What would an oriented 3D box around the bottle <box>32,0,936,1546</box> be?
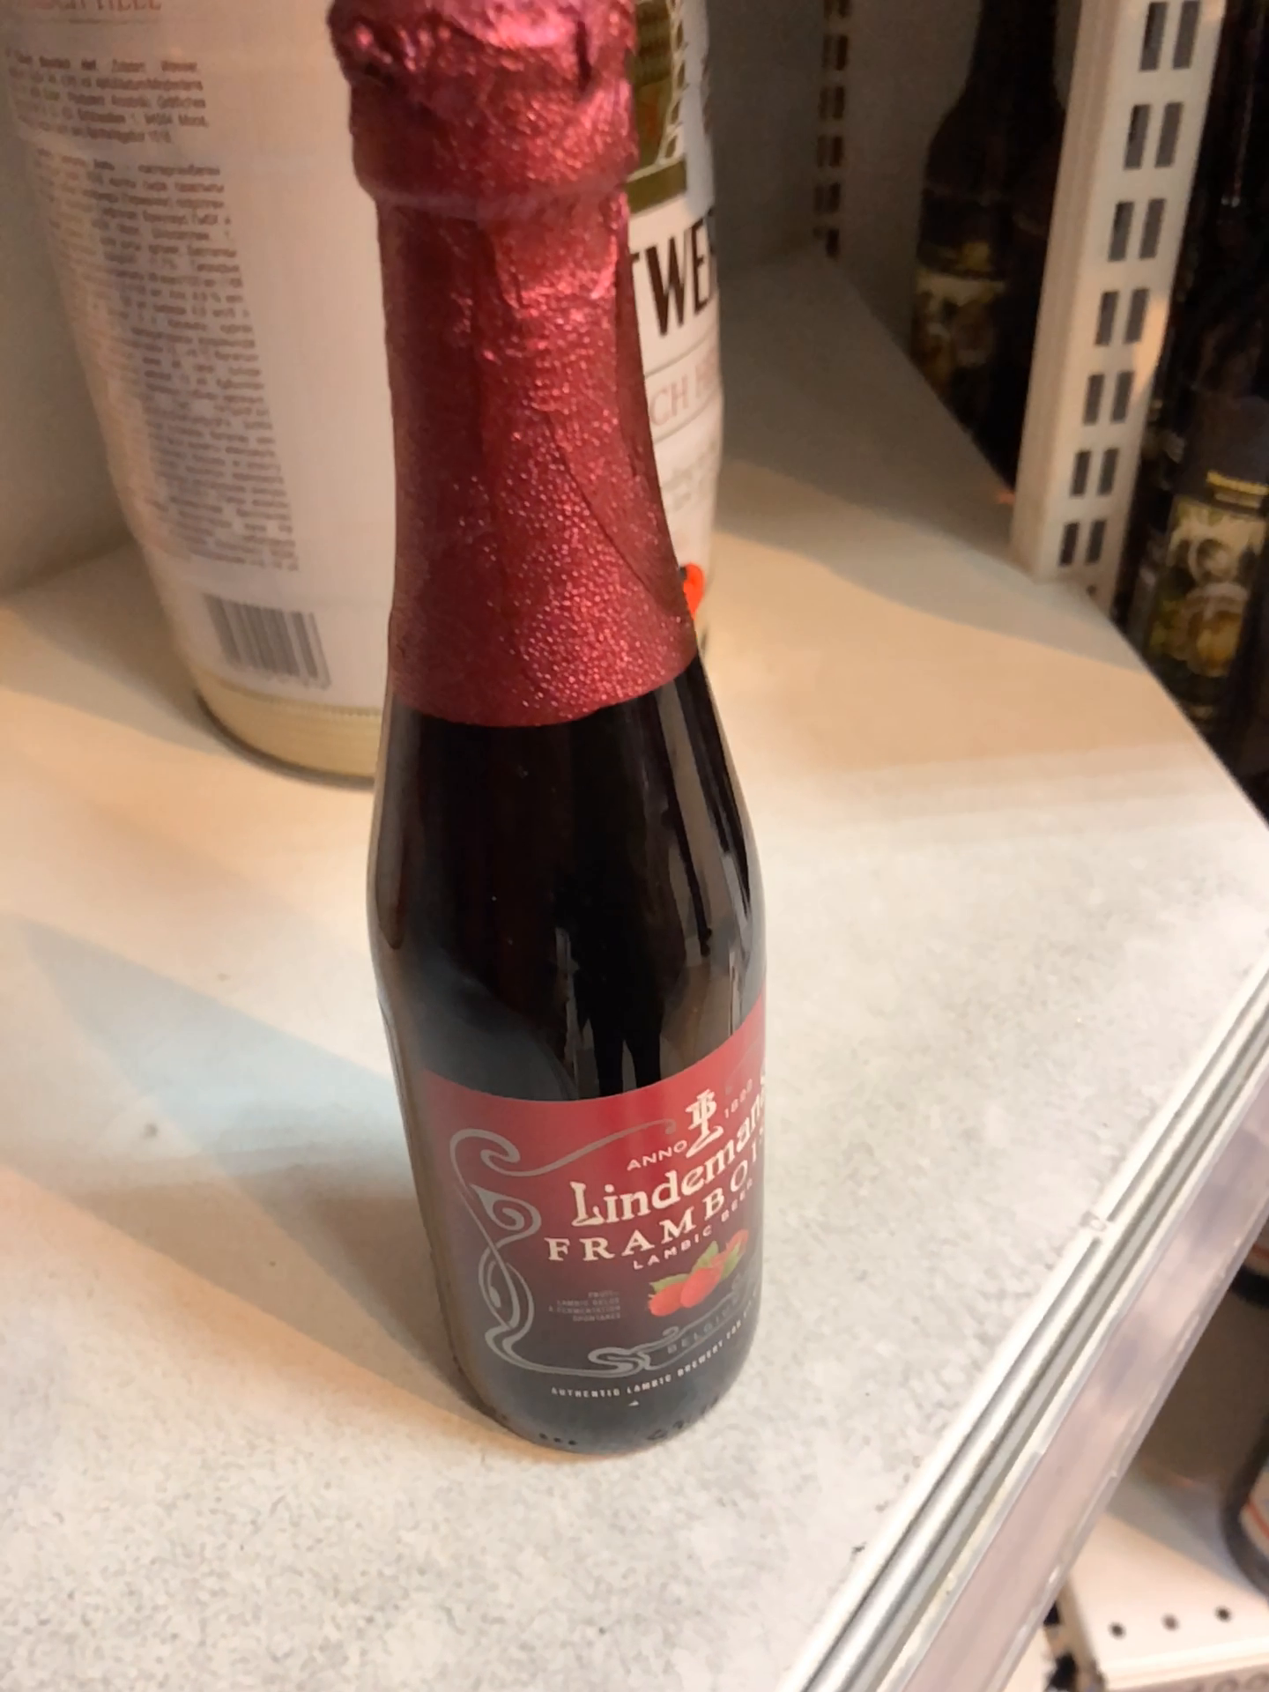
[{"bbox_3d":[-0.011,0.002,0.187,0.058,0.199,0.058,-2,38,1],"label":"bottle"}]
